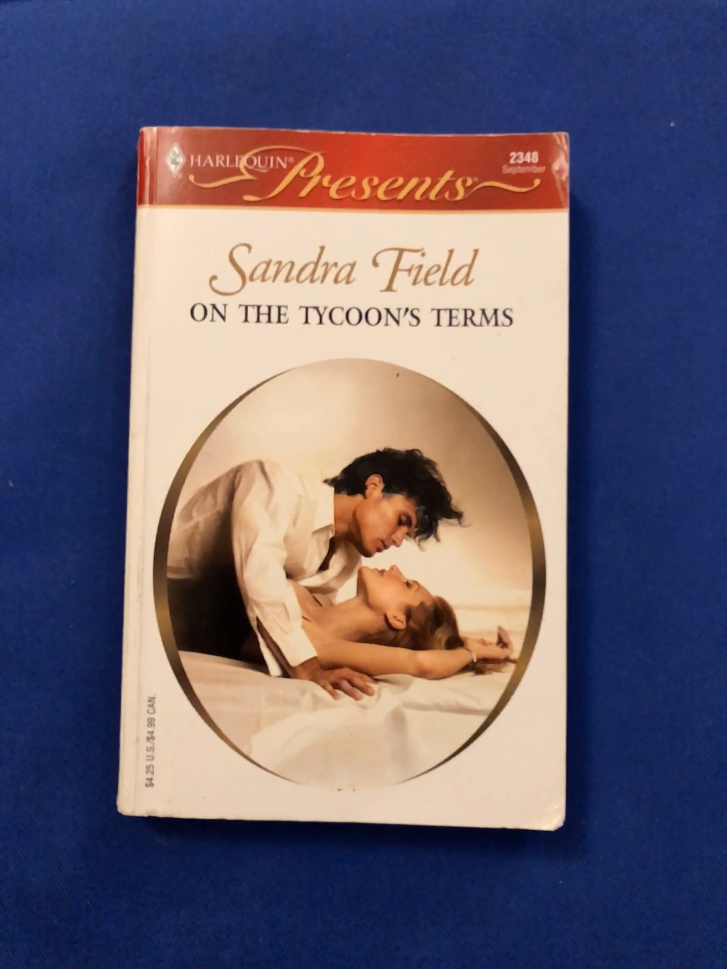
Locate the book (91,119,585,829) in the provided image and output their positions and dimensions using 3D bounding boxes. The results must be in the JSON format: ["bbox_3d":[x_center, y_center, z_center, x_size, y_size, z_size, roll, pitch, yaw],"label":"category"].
[{"bbox_3d":[-0.005,-0.004,0.192,0.107,0.020,0.157,1,88,1],"label":"book"}]
